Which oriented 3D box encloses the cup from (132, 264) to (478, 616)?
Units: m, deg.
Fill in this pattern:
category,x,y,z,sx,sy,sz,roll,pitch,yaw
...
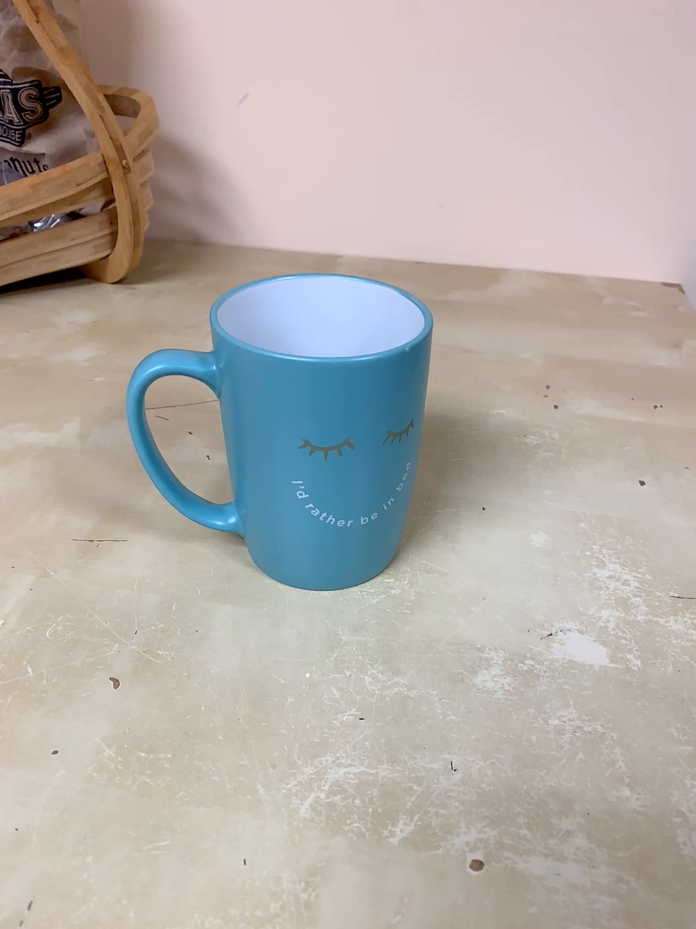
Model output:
category,x,y,z,sx,sy,sz,roll,pitch,yaw
cup,-0.022,-0.015,0.317,0.121,0.114,0.092,-6,35,-10
